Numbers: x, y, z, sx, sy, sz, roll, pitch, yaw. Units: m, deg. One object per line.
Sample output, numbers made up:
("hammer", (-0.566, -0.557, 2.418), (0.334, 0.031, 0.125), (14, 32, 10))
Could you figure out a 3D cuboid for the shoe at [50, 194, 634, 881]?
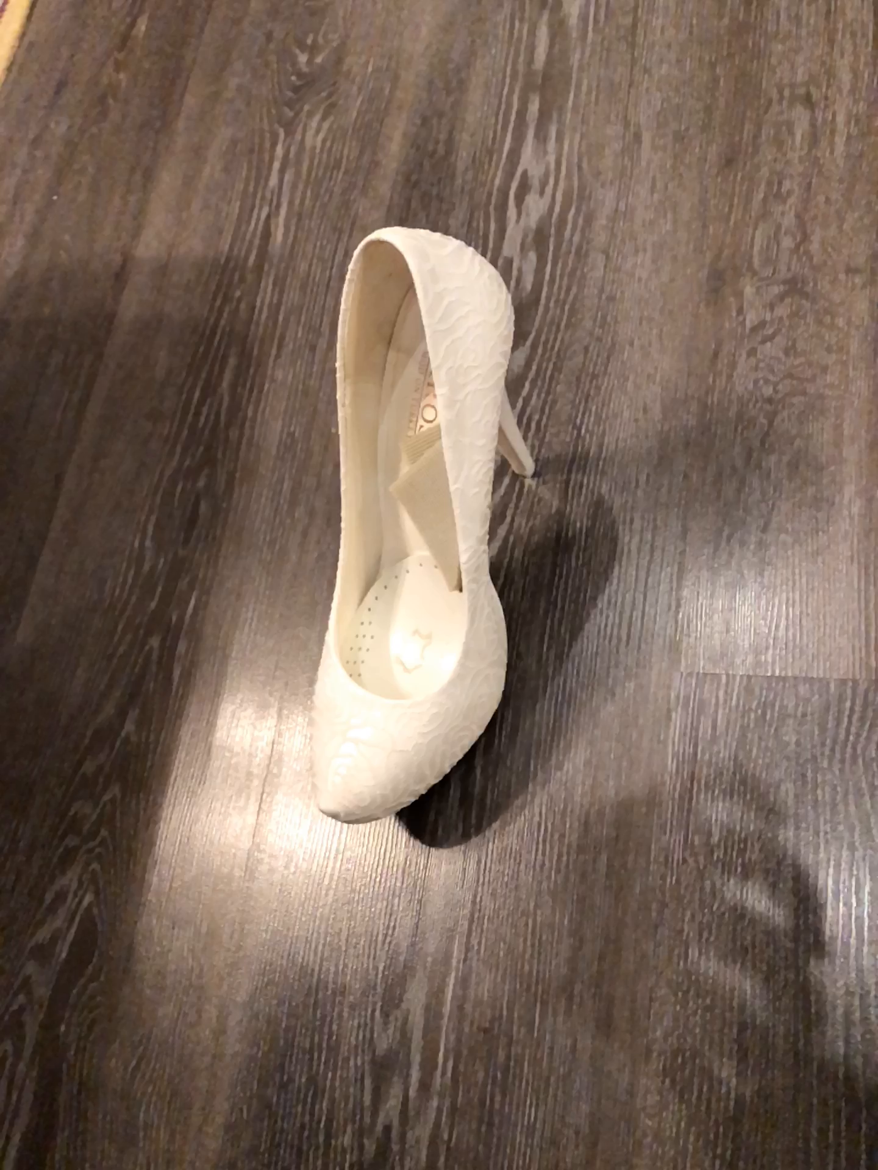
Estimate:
("shoe", (-0.019, -0.012, 0.376), (0.090, 0.149, 0.210), (16, 76, 30))
